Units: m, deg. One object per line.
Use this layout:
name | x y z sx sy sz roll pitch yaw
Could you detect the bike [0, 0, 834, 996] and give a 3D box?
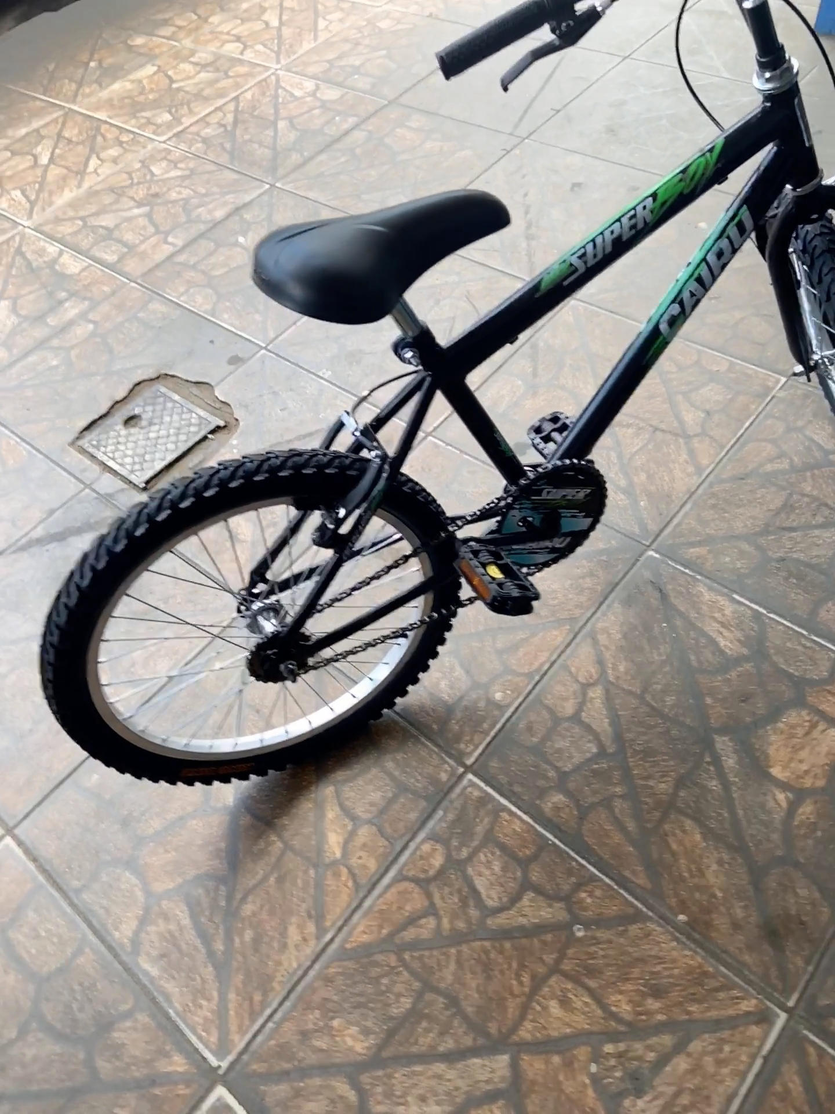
bike | 0.060 -0.259 1.021 1.271 0.935 0.600 -32 57 -17
